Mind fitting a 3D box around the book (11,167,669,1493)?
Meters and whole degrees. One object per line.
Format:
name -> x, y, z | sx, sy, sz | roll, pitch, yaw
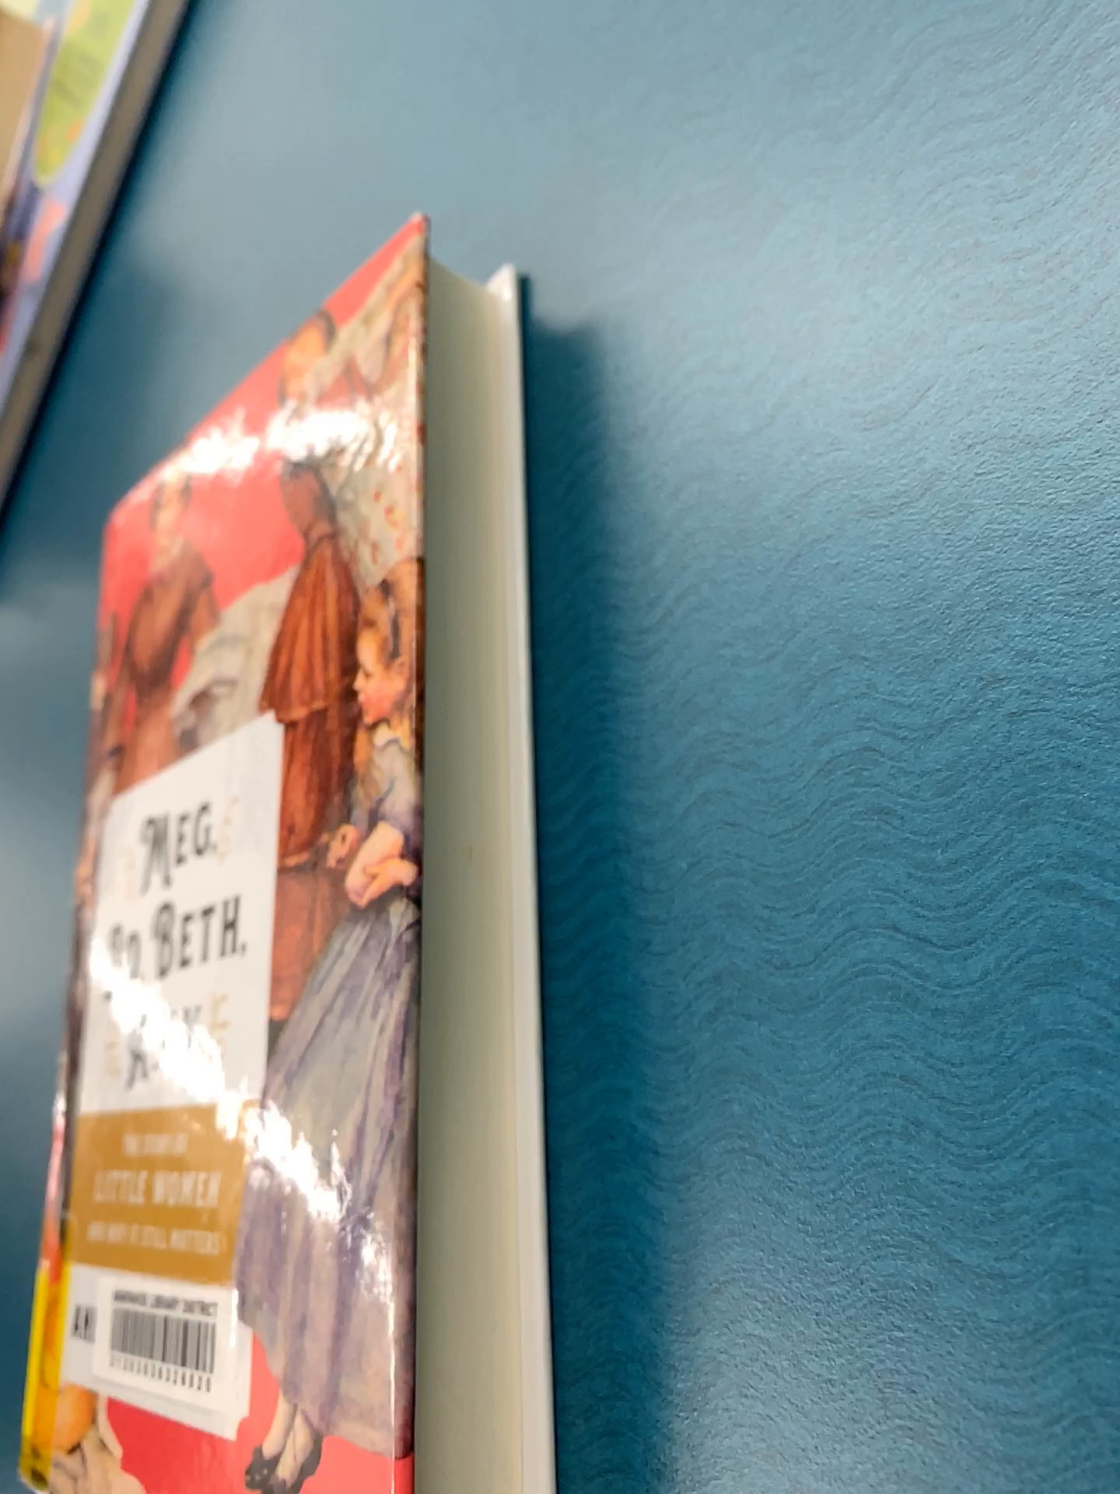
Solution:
book -> -0.052, 0.028, 0.229 | 0.141, 0.040, 0.220 | -21, 64, 45
